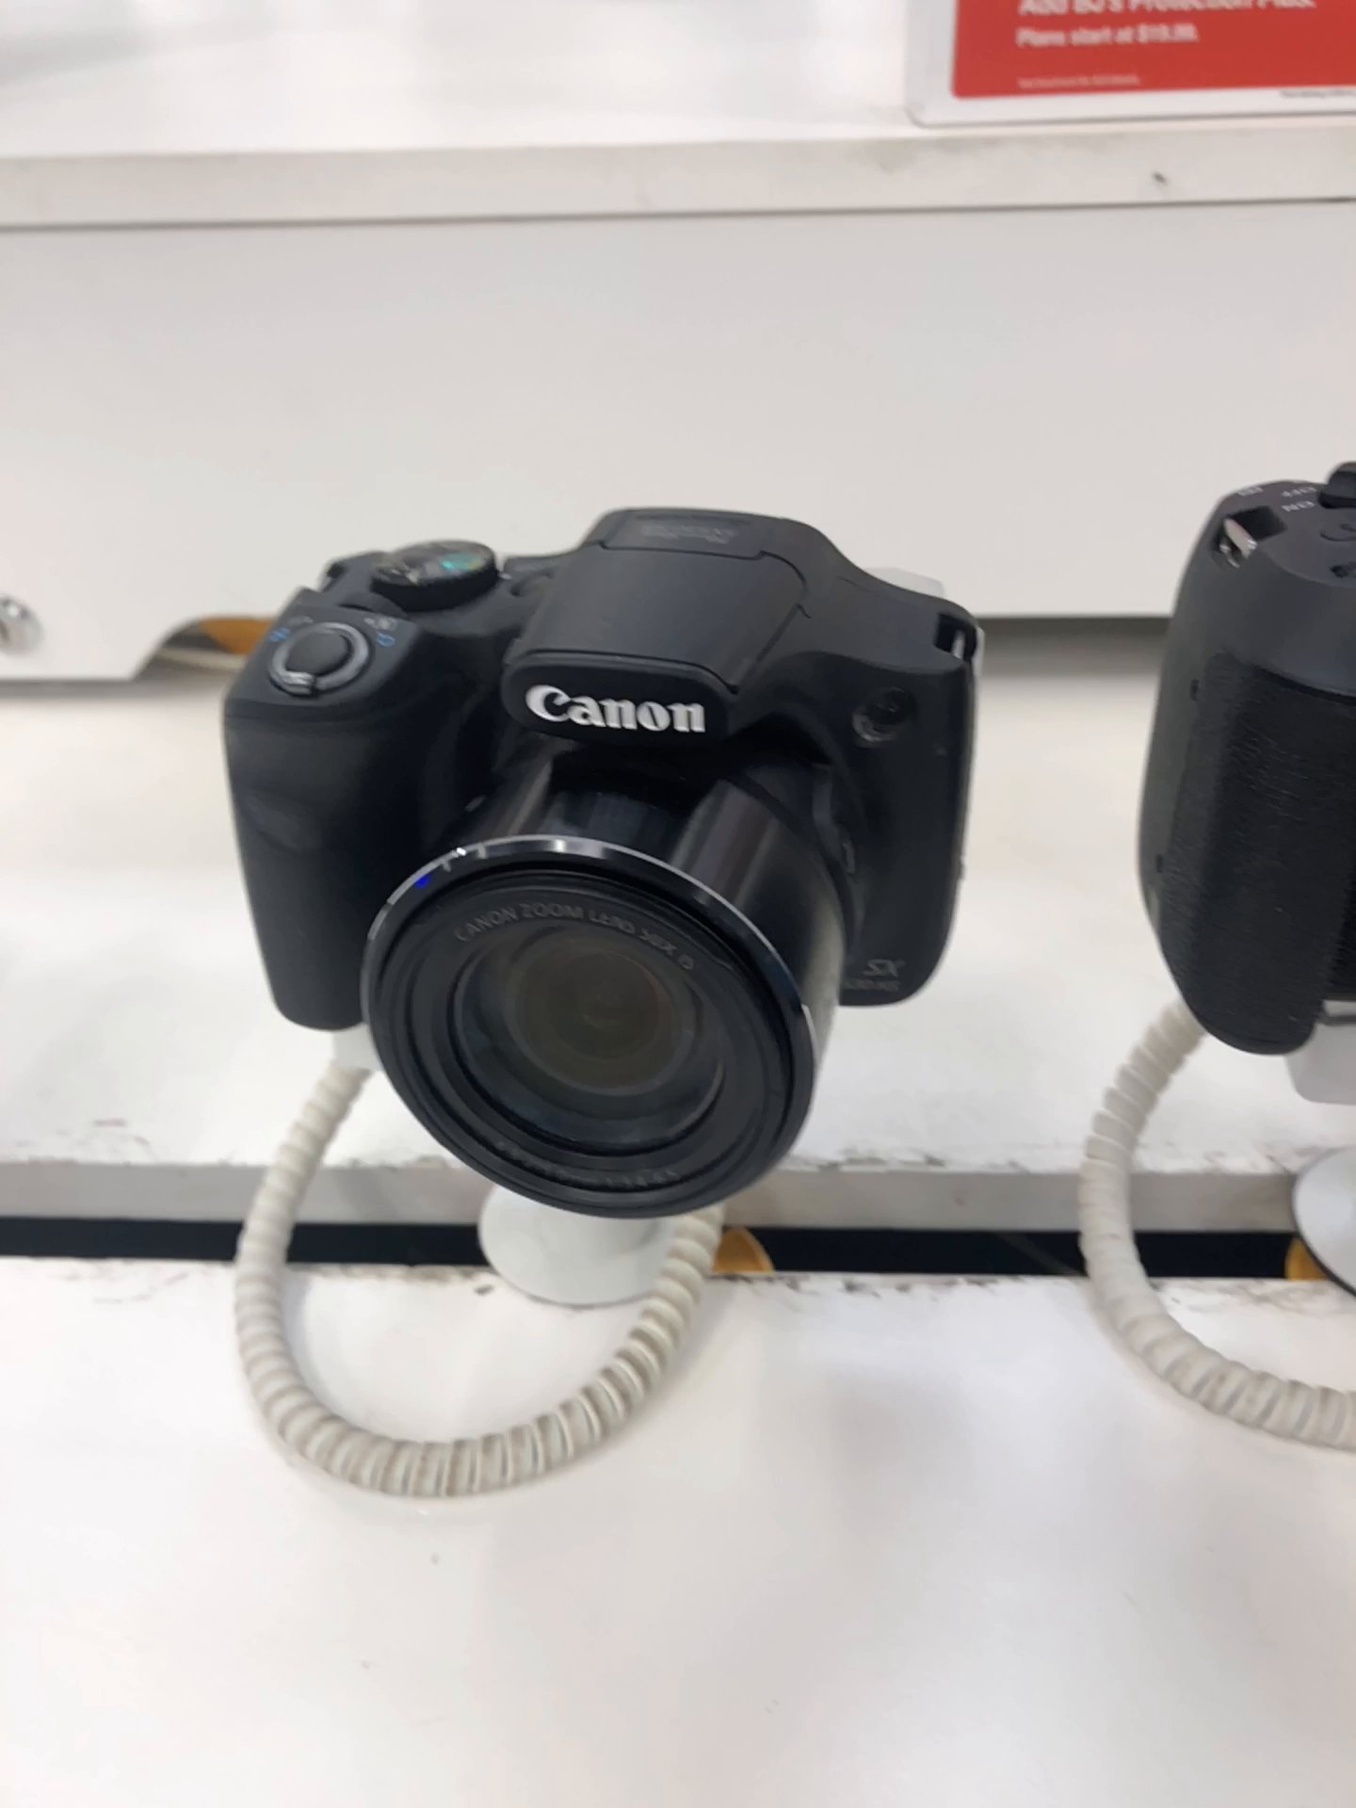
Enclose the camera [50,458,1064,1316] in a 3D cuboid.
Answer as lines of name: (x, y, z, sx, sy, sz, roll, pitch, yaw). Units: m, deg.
camera: (-0.008, -0.008, 0.230, 0.120, 0.089, 0.081, 6, 35, 11)
